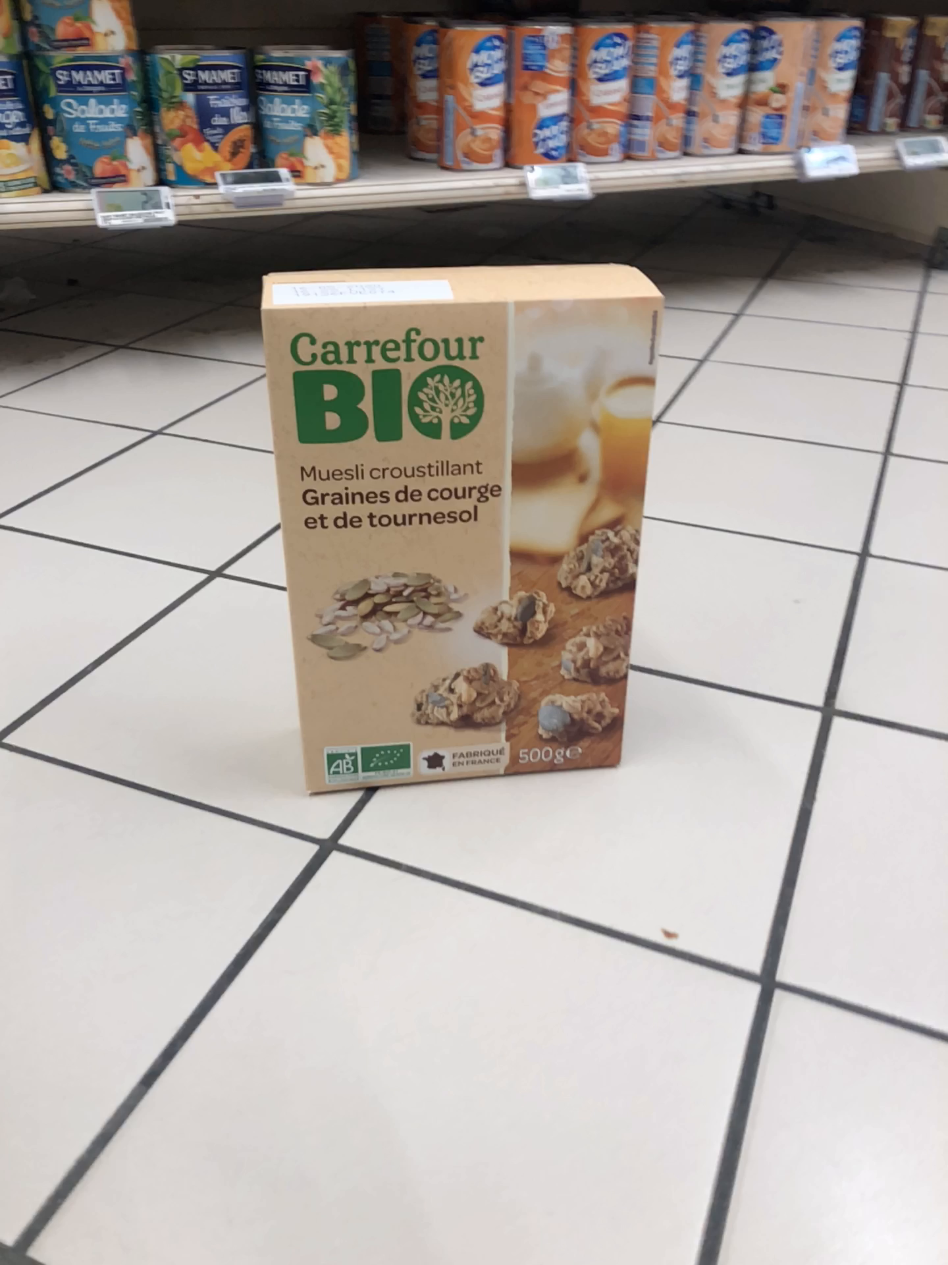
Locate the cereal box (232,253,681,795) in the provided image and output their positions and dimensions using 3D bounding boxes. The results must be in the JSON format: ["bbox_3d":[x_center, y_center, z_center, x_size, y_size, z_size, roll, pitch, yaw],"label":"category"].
[{"bbox_3d":[-0.009,-0.046,0.478,0.170,0.229,0.070,-4,30,-7],"label":"cereal box"}]
